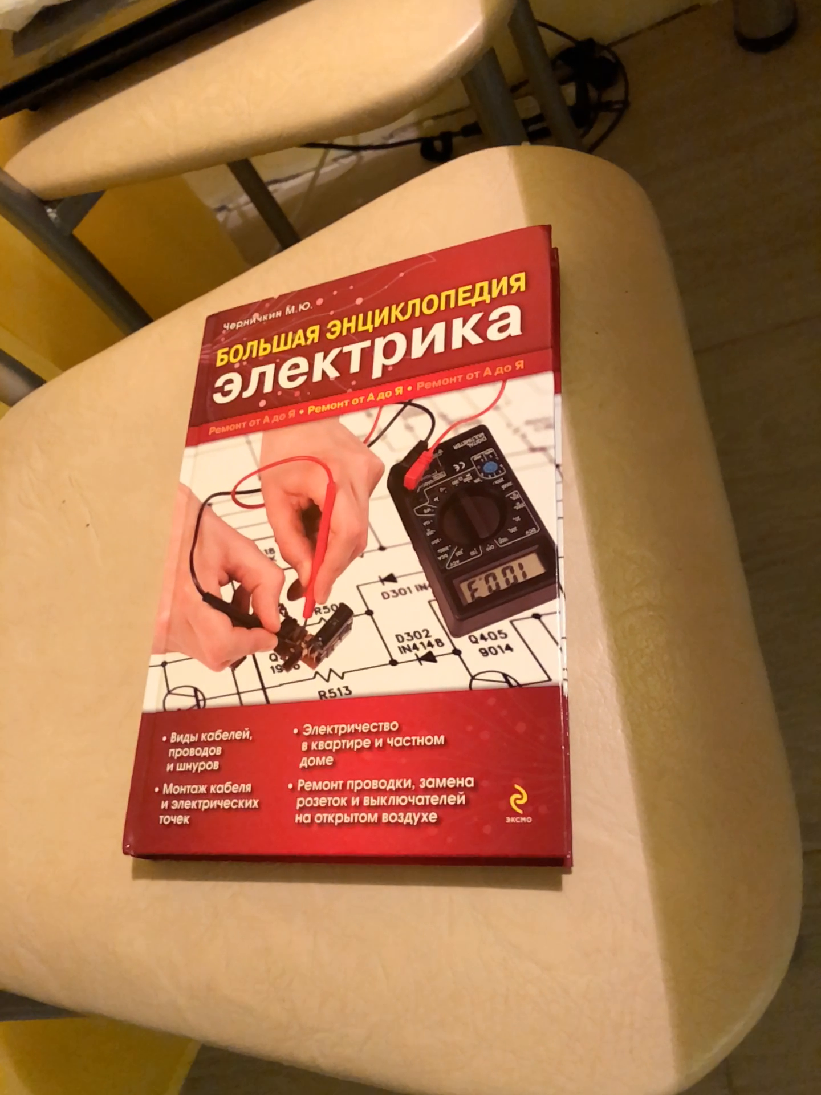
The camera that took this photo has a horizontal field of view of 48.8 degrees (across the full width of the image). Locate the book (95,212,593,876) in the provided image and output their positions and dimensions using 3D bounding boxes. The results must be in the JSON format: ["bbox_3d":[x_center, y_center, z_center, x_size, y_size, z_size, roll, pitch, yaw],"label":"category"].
[{"bbox_3d":[-0.022,-0.004,0.350,0.172,0.030,0.241,-8,64,23],"label":"book"}]
